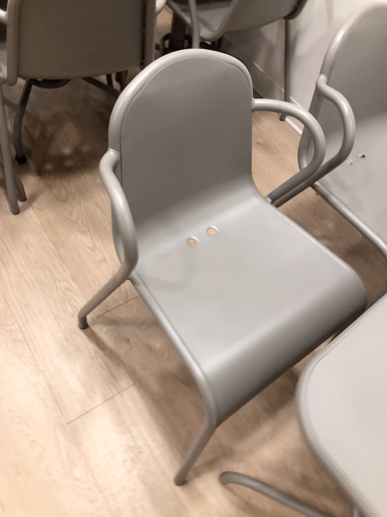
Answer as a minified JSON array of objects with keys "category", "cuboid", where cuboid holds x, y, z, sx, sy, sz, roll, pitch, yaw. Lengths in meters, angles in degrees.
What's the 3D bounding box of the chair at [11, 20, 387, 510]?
[{"category":"chair","cuboid":[0.048,0.057,0.889,0.481,0.707,0.612,-27,66,-25]}]
